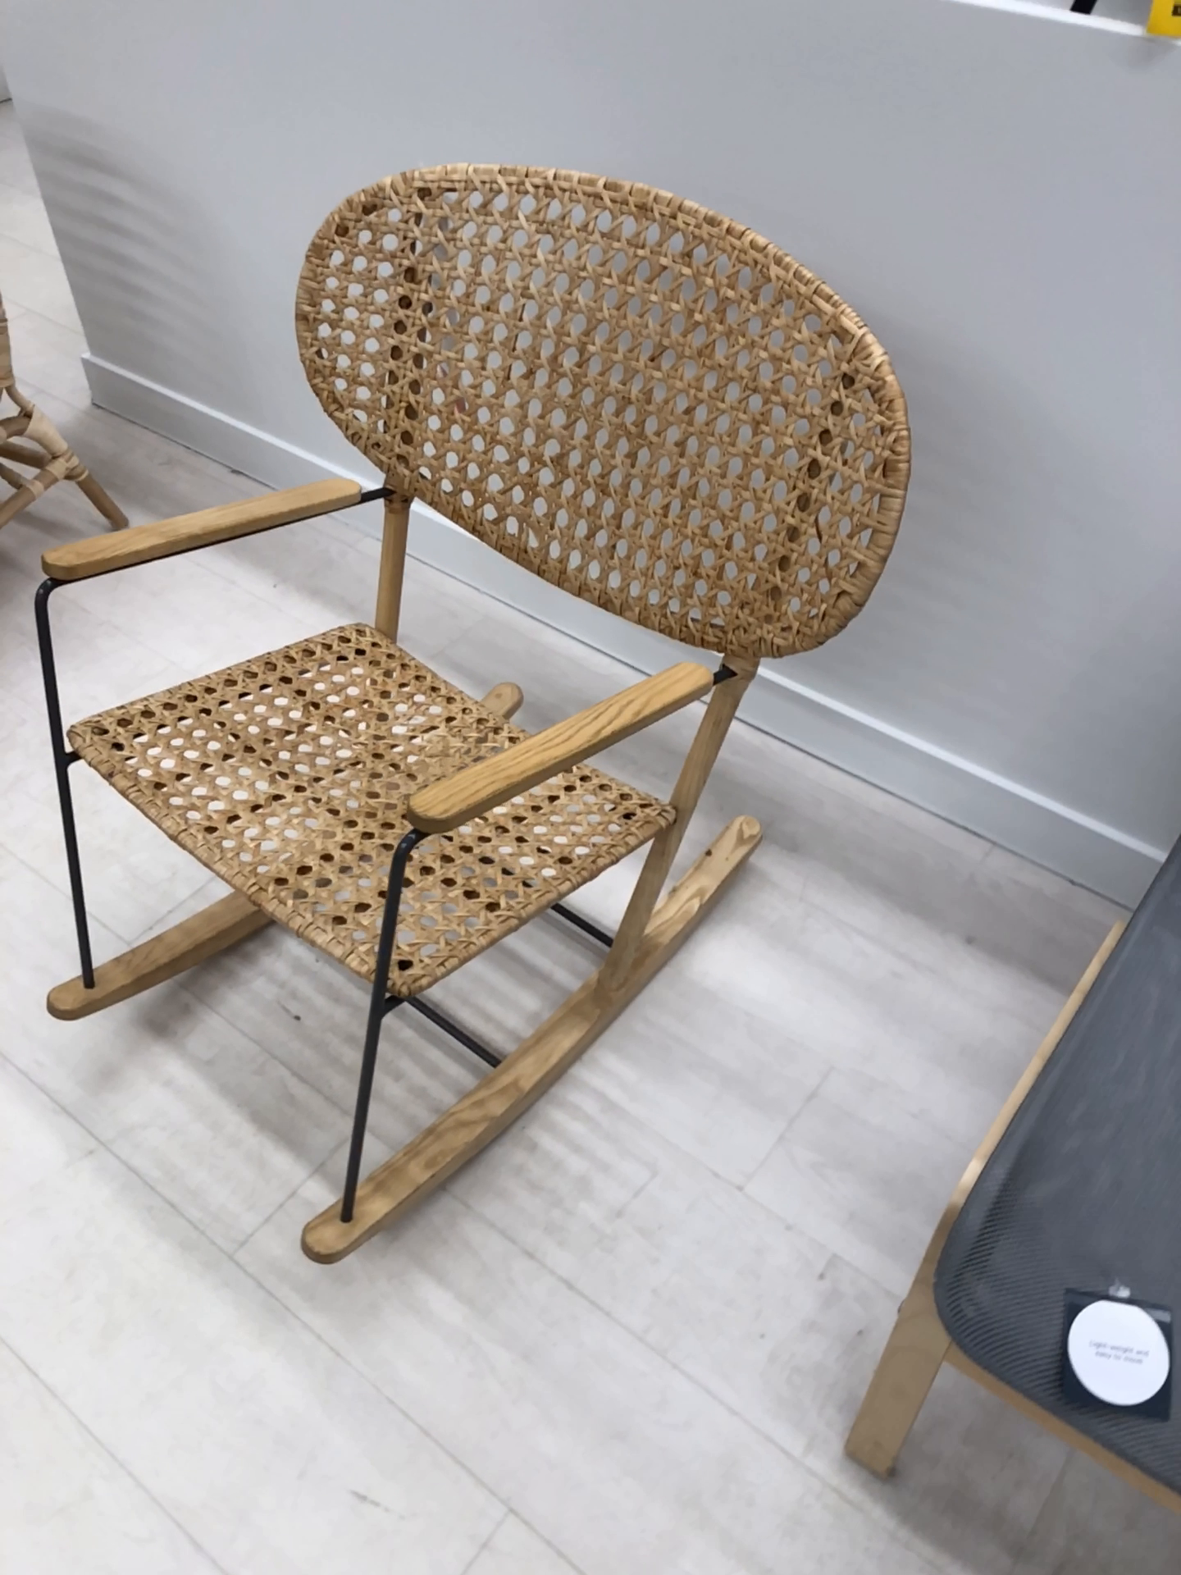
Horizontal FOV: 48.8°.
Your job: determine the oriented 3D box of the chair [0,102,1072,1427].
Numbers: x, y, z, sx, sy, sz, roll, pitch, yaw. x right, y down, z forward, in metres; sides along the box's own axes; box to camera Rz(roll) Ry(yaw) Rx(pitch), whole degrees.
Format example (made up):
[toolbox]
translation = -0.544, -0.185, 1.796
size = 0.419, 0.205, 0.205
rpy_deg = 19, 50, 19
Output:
[chair]
translation = -0.175, -0.092, 1.374
size = 0.831, 0.787, 0.852
rpy_deg = 32, 54, 28
